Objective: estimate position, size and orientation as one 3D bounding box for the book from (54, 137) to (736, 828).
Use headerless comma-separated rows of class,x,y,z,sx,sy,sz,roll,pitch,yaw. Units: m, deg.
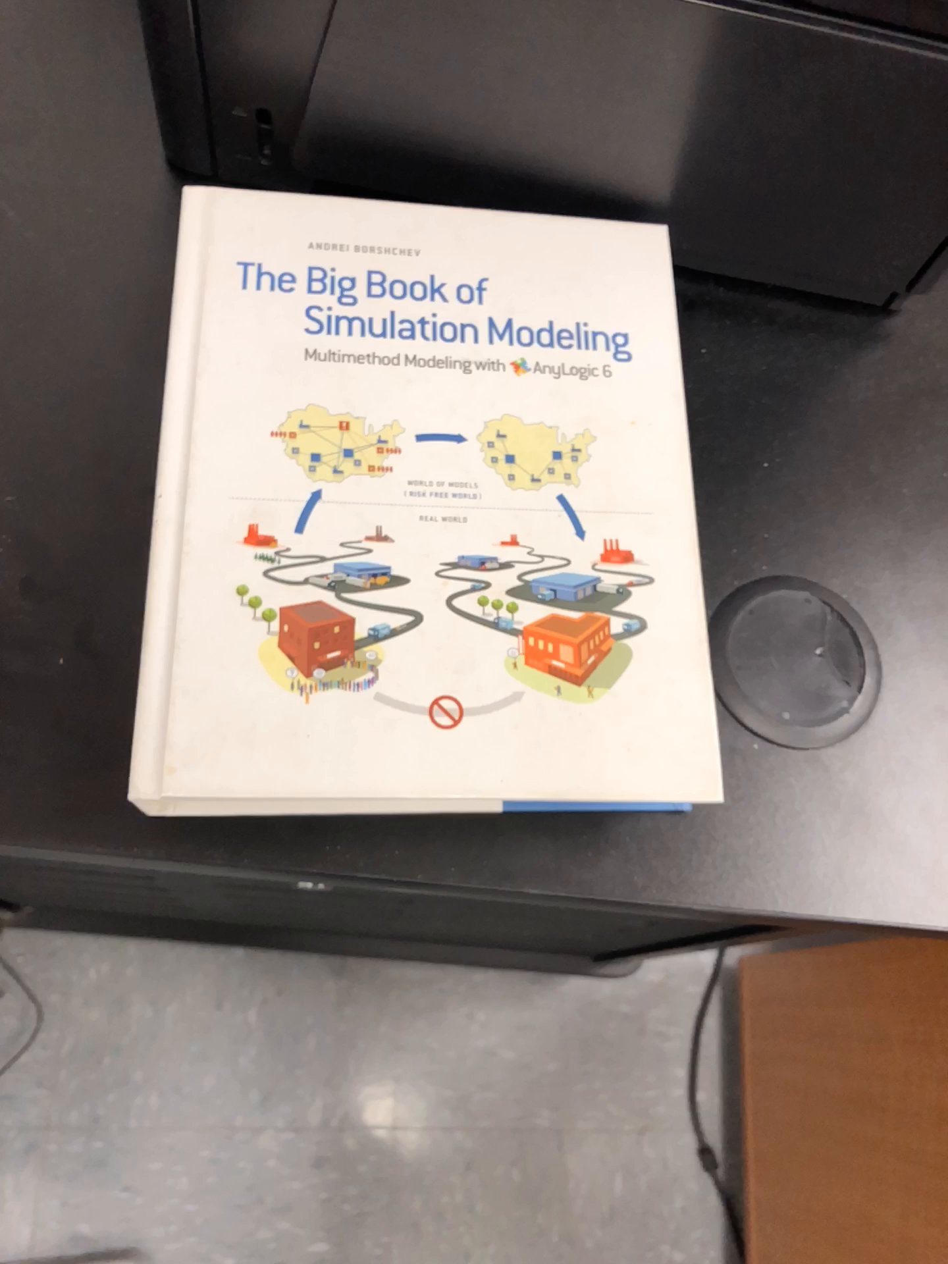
book,-0.026,-0.057,0.390,0.210,0.050,0.250,1,70,-8
